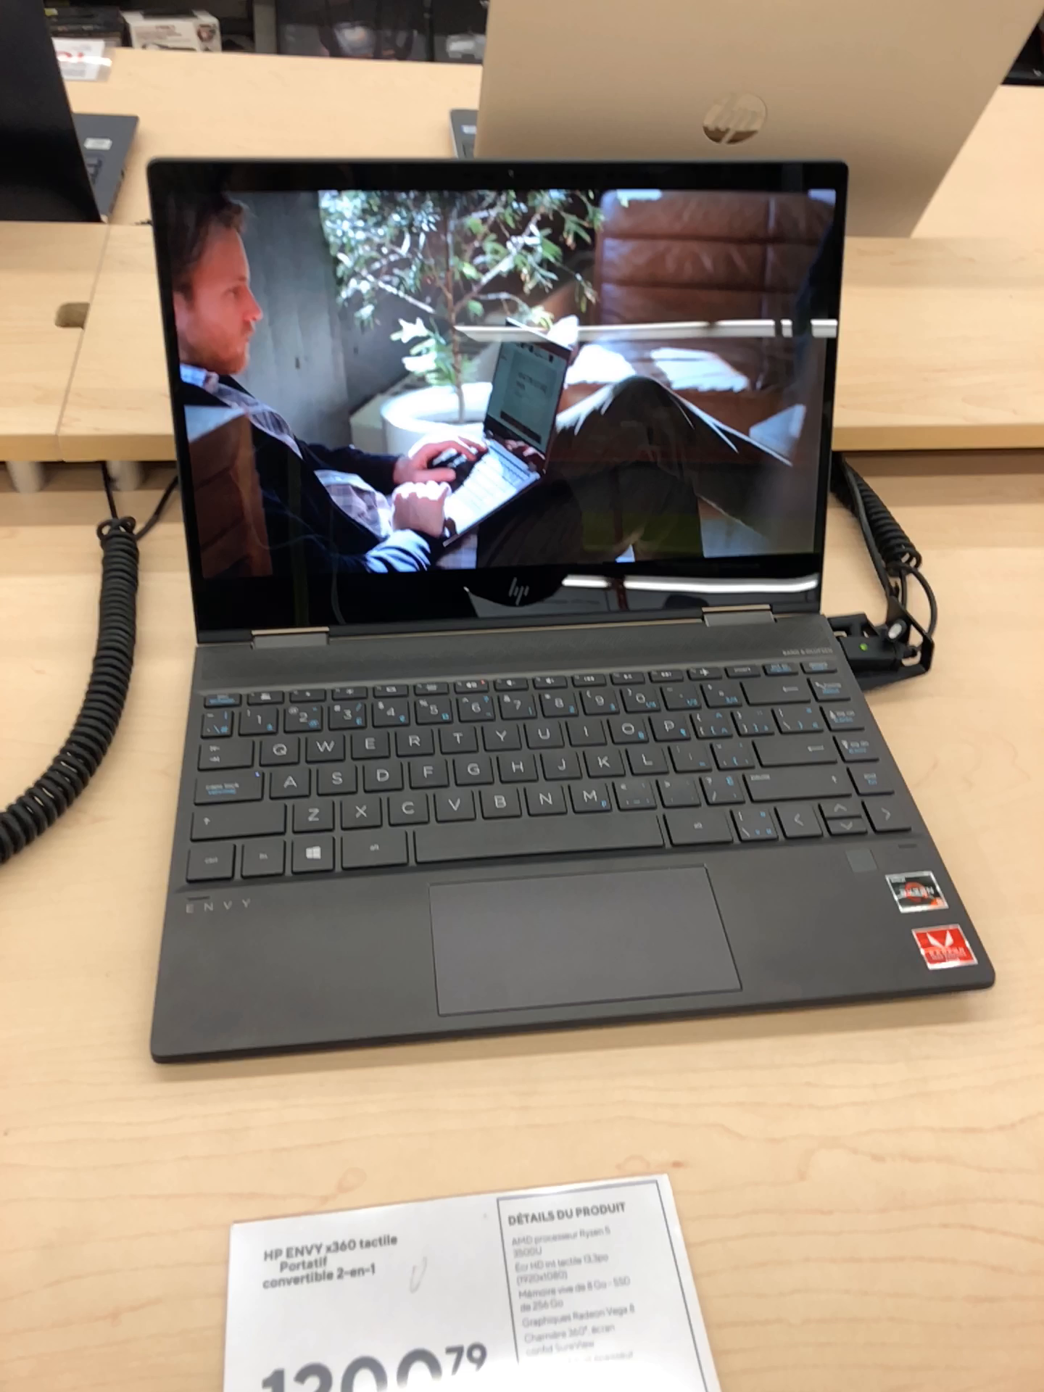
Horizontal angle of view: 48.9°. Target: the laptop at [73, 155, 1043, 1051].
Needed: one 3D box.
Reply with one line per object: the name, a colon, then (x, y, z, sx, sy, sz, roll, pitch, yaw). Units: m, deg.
laptop: (0.014, -0.055, 0.444, 0.294, 0.182, 0.289, -3, 45, -9)
